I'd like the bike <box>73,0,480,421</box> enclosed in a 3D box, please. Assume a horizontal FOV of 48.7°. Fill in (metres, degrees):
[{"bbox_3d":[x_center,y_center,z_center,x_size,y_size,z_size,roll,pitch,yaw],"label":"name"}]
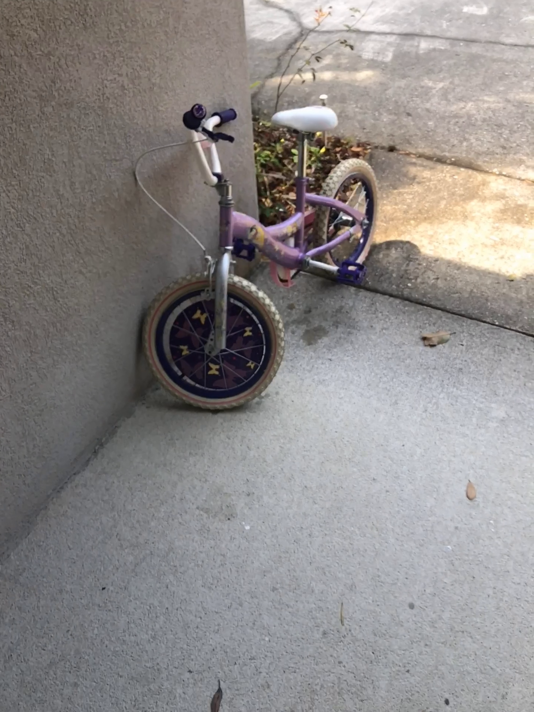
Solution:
[{"bbox_3d":[0.077,-0.488,1.706,0.617,0.816,0.849,26,53,26],"label":"bike"}]
